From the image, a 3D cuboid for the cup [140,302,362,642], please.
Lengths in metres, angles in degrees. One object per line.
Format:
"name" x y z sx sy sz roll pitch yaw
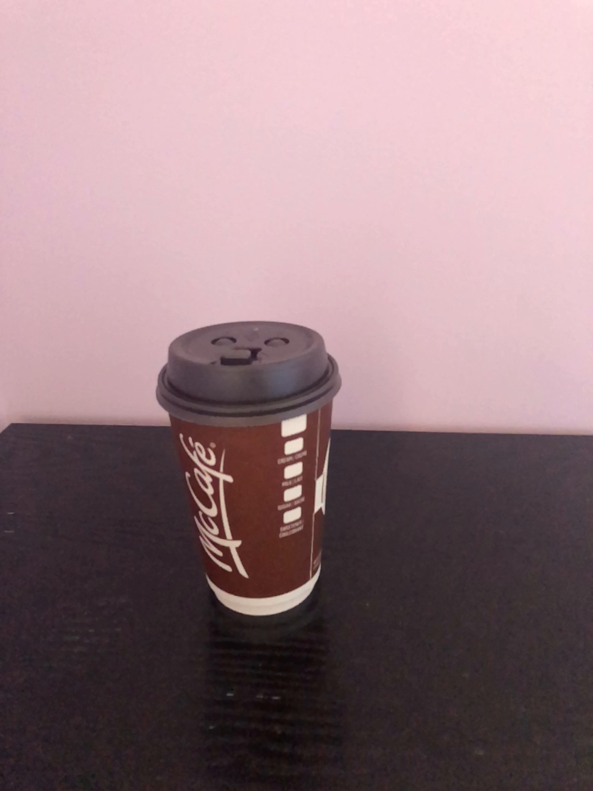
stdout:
"cup" -0.020 0.035 0.335 0.090 0.139 0.090 -2 25 1
